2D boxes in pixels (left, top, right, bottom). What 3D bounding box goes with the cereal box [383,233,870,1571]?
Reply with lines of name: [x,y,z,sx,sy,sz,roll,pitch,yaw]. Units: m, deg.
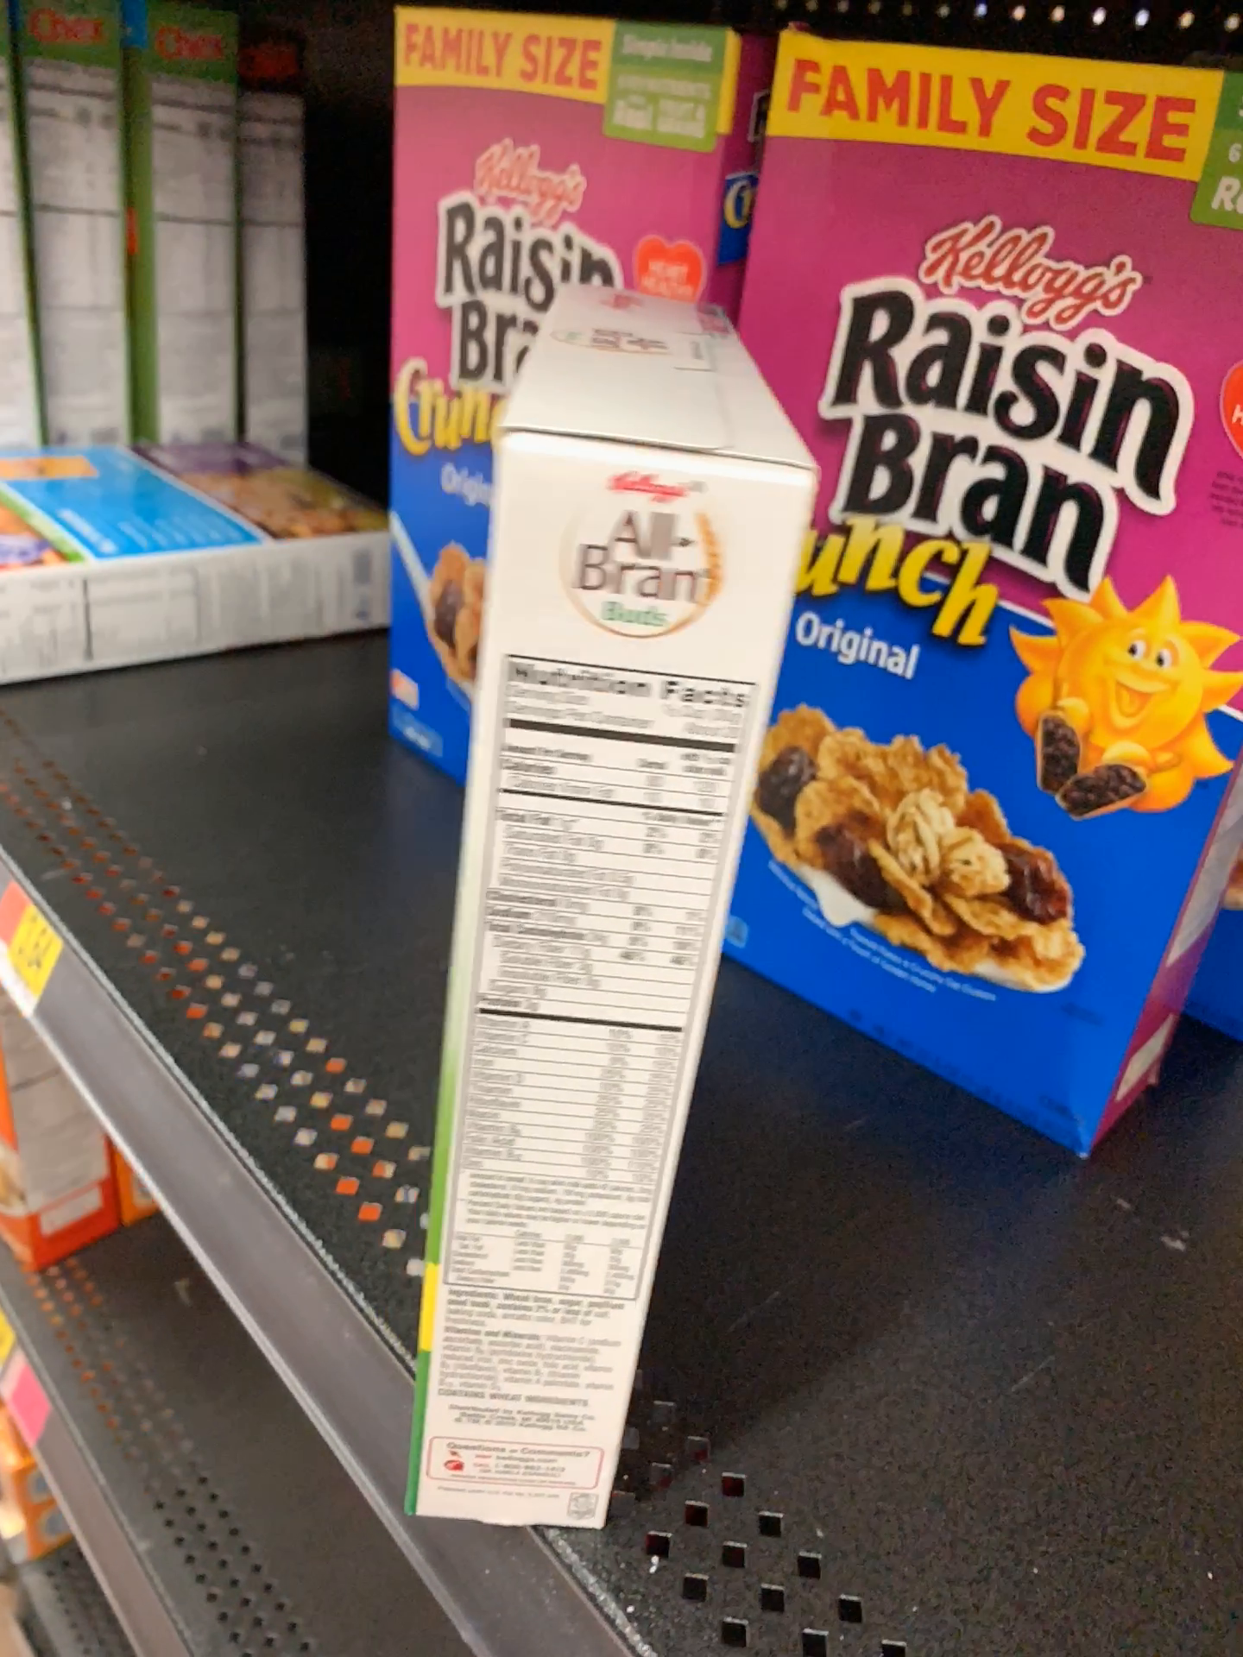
cereal box: [-0.011,0.008,0.316,0.050,0.259,0.191,7,29,-5]
